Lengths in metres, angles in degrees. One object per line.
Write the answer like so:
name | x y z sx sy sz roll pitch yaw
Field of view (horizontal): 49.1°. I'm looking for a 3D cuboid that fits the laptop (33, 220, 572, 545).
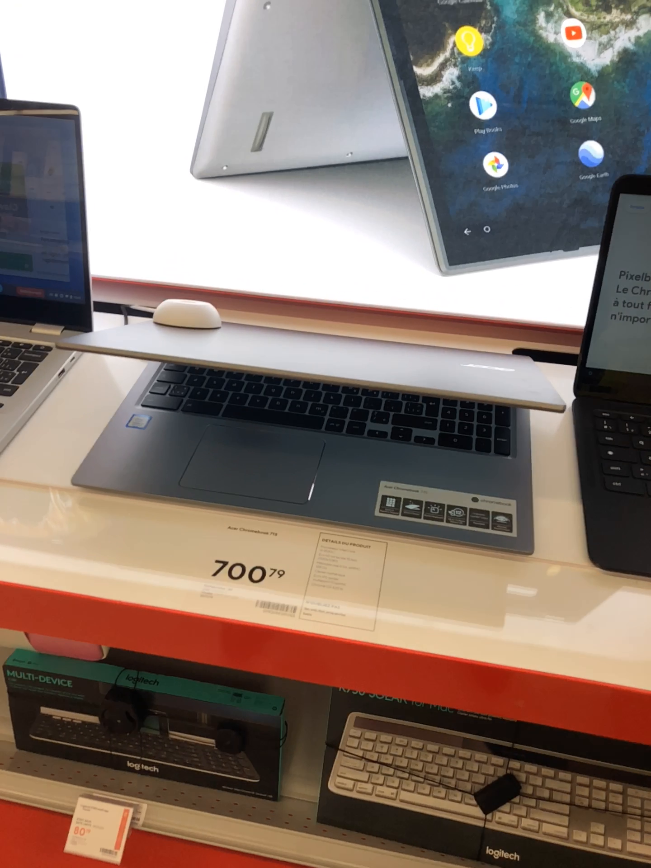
laptop | 0.001 -0.060 0.605 0.368 0.109 0.245 7 42 6
